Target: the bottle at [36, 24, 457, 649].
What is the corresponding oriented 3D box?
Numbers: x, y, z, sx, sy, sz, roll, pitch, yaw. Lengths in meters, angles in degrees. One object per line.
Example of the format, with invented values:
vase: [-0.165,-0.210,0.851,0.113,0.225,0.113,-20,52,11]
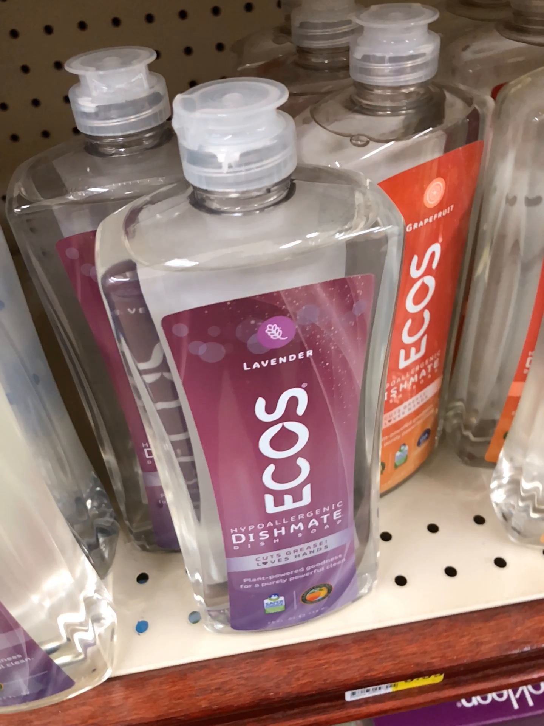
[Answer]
bottle: [-0.001,0.021,0.227,0.090,0.244,0.048,-11,43,-7]
